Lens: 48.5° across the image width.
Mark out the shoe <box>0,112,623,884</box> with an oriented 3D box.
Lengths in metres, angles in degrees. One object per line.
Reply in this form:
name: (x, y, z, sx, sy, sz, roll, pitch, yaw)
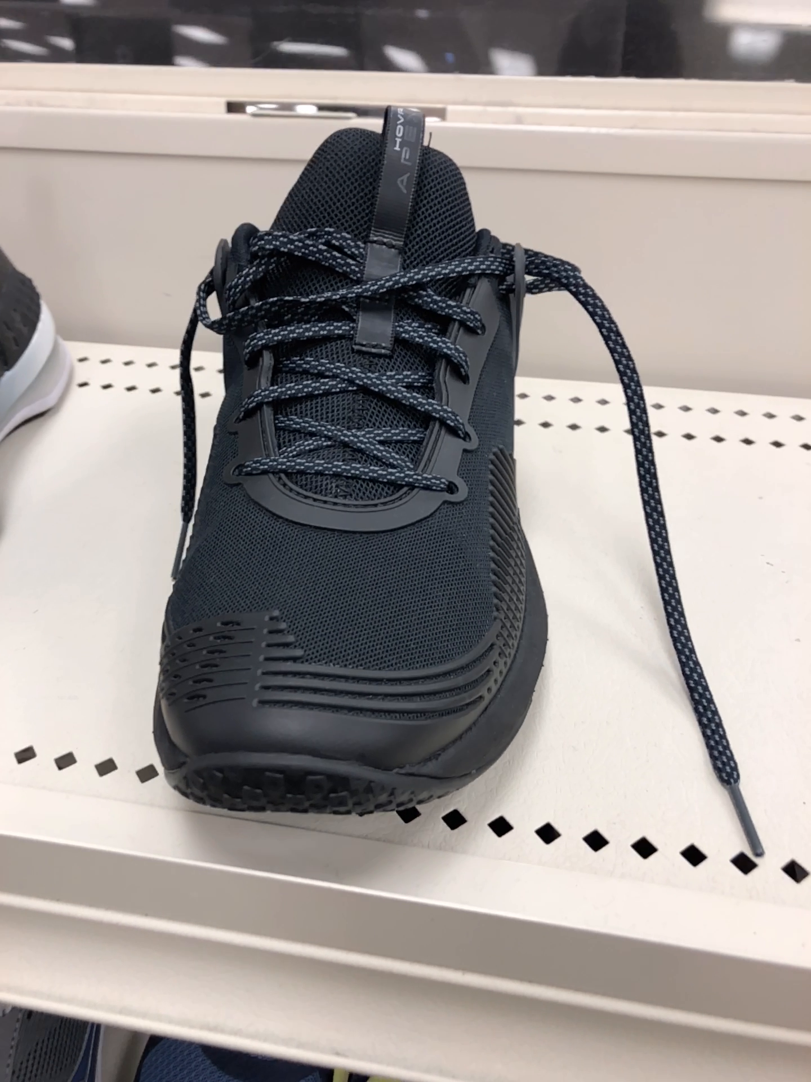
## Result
shoe: (-0.005, -0.070, 0.332, 0.120, 0.129, 0.353, 5, 30, 5)
